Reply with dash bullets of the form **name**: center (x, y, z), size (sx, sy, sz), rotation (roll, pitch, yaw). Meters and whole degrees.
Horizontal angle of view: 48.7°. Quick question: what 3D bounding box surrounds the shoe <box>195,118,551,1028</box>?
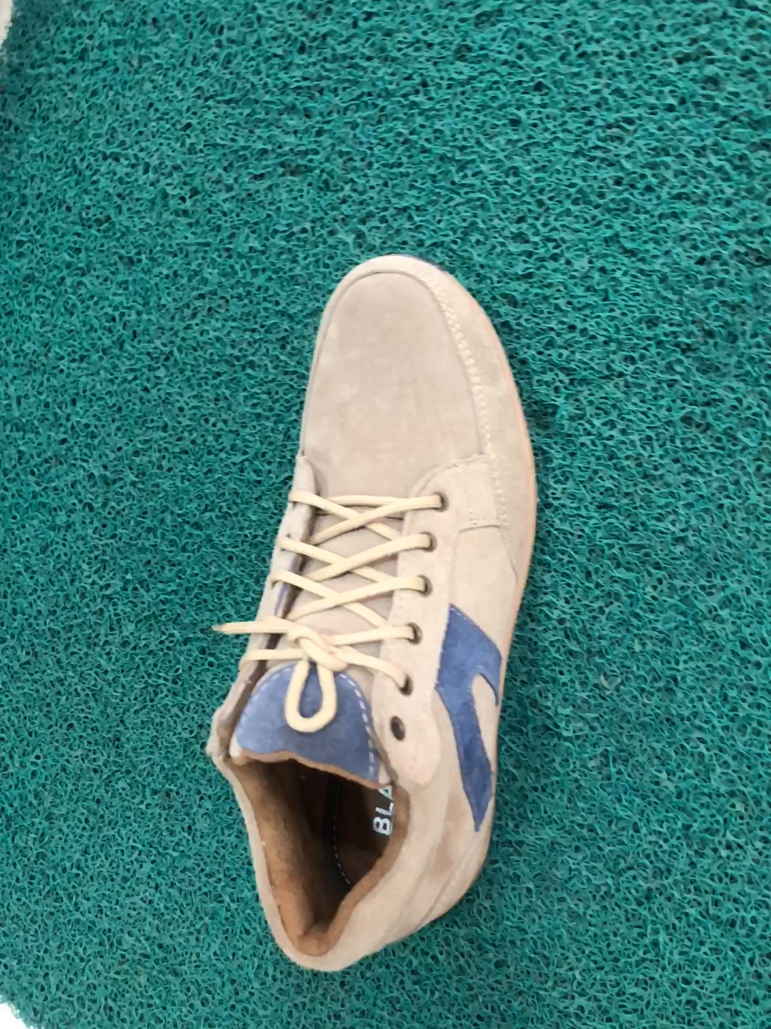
- **shoe**: center (0.002, 0.030, 0.353), size (0.100, 0.120, 0.320), rotation (3, 92, 21)
